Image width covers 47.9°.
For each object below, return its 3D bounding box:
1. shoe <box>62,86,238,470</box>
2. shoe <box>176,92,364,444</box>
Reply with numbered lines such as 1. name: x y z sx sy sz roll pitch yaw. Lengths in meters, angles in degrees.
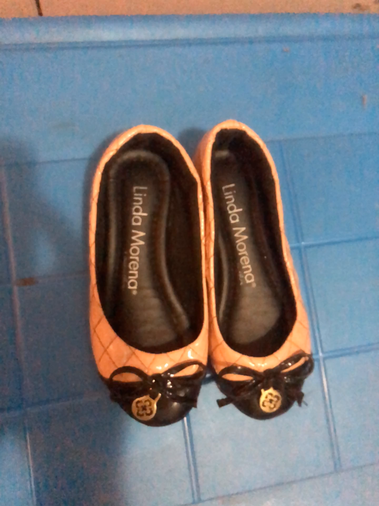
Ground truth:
1. shoe: -0.027 0.010 0.258 0.070 0.080 0.190 -6 86 -11
2. shoe: 0.044 0.007 0.278 0.070 0.080 0.190 -7 86 -11
